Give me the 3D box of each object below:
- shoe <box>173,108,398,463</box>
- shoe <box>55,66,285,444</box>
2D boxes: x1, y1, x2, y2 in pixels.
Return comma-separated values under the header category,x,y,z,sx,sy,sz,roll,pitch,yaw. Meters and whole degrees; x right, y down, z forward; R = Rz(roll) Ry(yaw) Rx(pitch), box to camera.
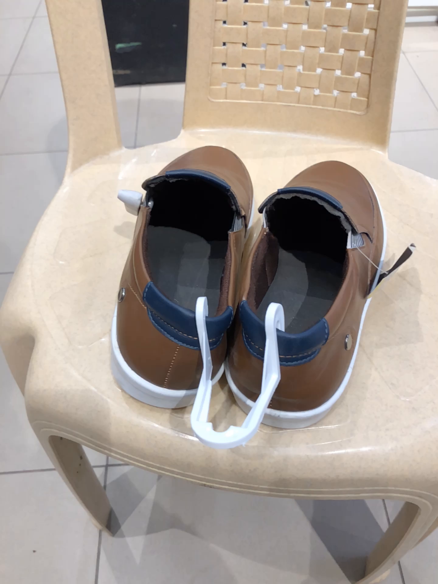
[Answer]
category,x,y,z,sx,sy,sz,roll,pitch,yaw
shoe,0.070,-0.029,0.375,0.104,0.099,0.272,7,49,17
shoe,-0.021,-0.045,0.369,0.104,0.099,0.272,20,47,-13
